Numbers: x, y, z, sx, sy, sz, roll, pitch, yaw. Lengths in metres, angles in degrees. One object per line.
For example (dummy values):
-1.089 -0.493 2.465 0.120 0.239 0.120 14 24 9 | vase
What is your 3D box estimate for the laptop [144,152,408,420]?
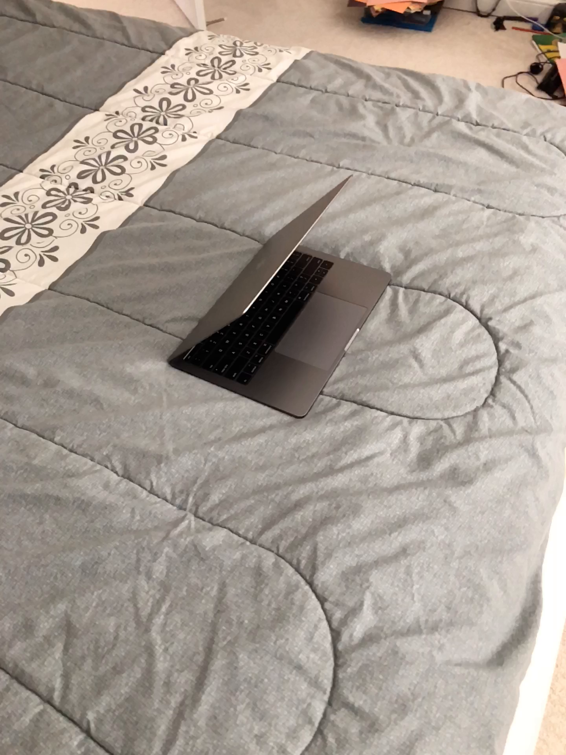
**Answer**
0.003 -0.125 0.777 0.195 0.140 0.279 21 56 19 | laptop
